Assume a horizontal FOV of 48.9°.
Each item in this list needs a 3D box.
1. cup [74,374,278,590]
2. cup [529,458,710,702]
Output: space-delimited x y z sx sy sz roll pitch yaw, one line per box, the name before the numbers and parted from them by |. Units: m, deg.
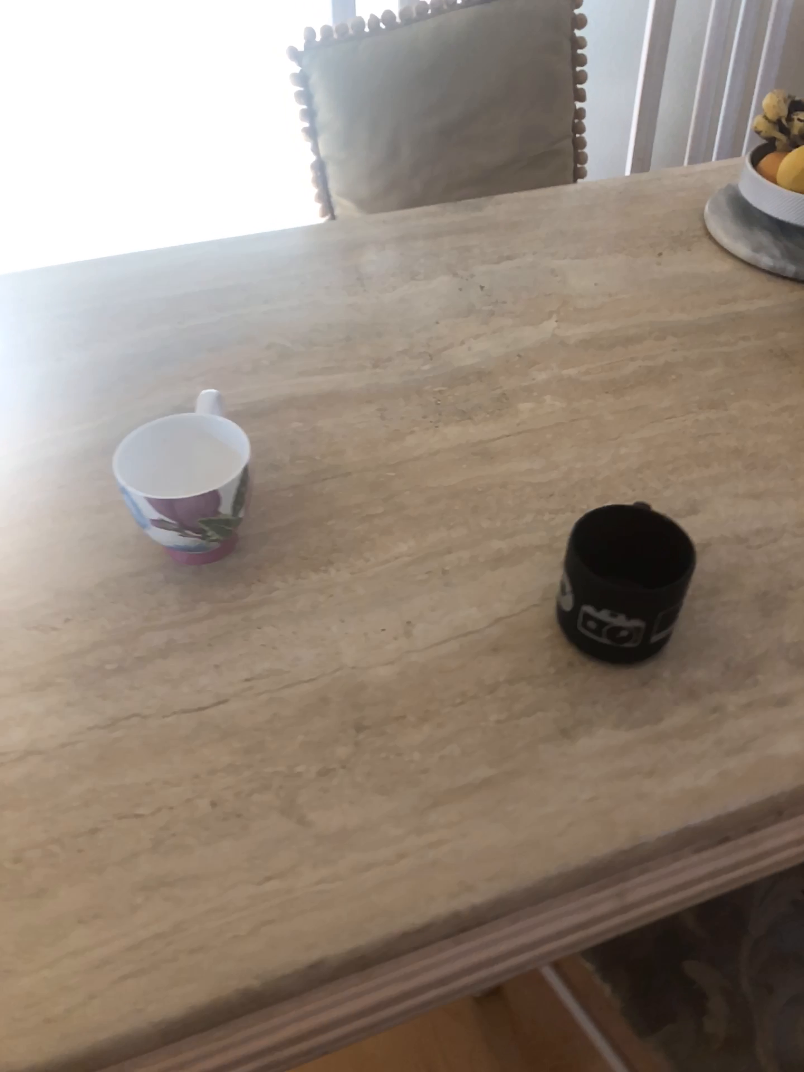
cup | -0.180 -0.049 0.742 0.110 0.089 0.161 5 45 5
cup | 0.170 0.030 0.690 0.100 0.089 0.151 14 46 14
